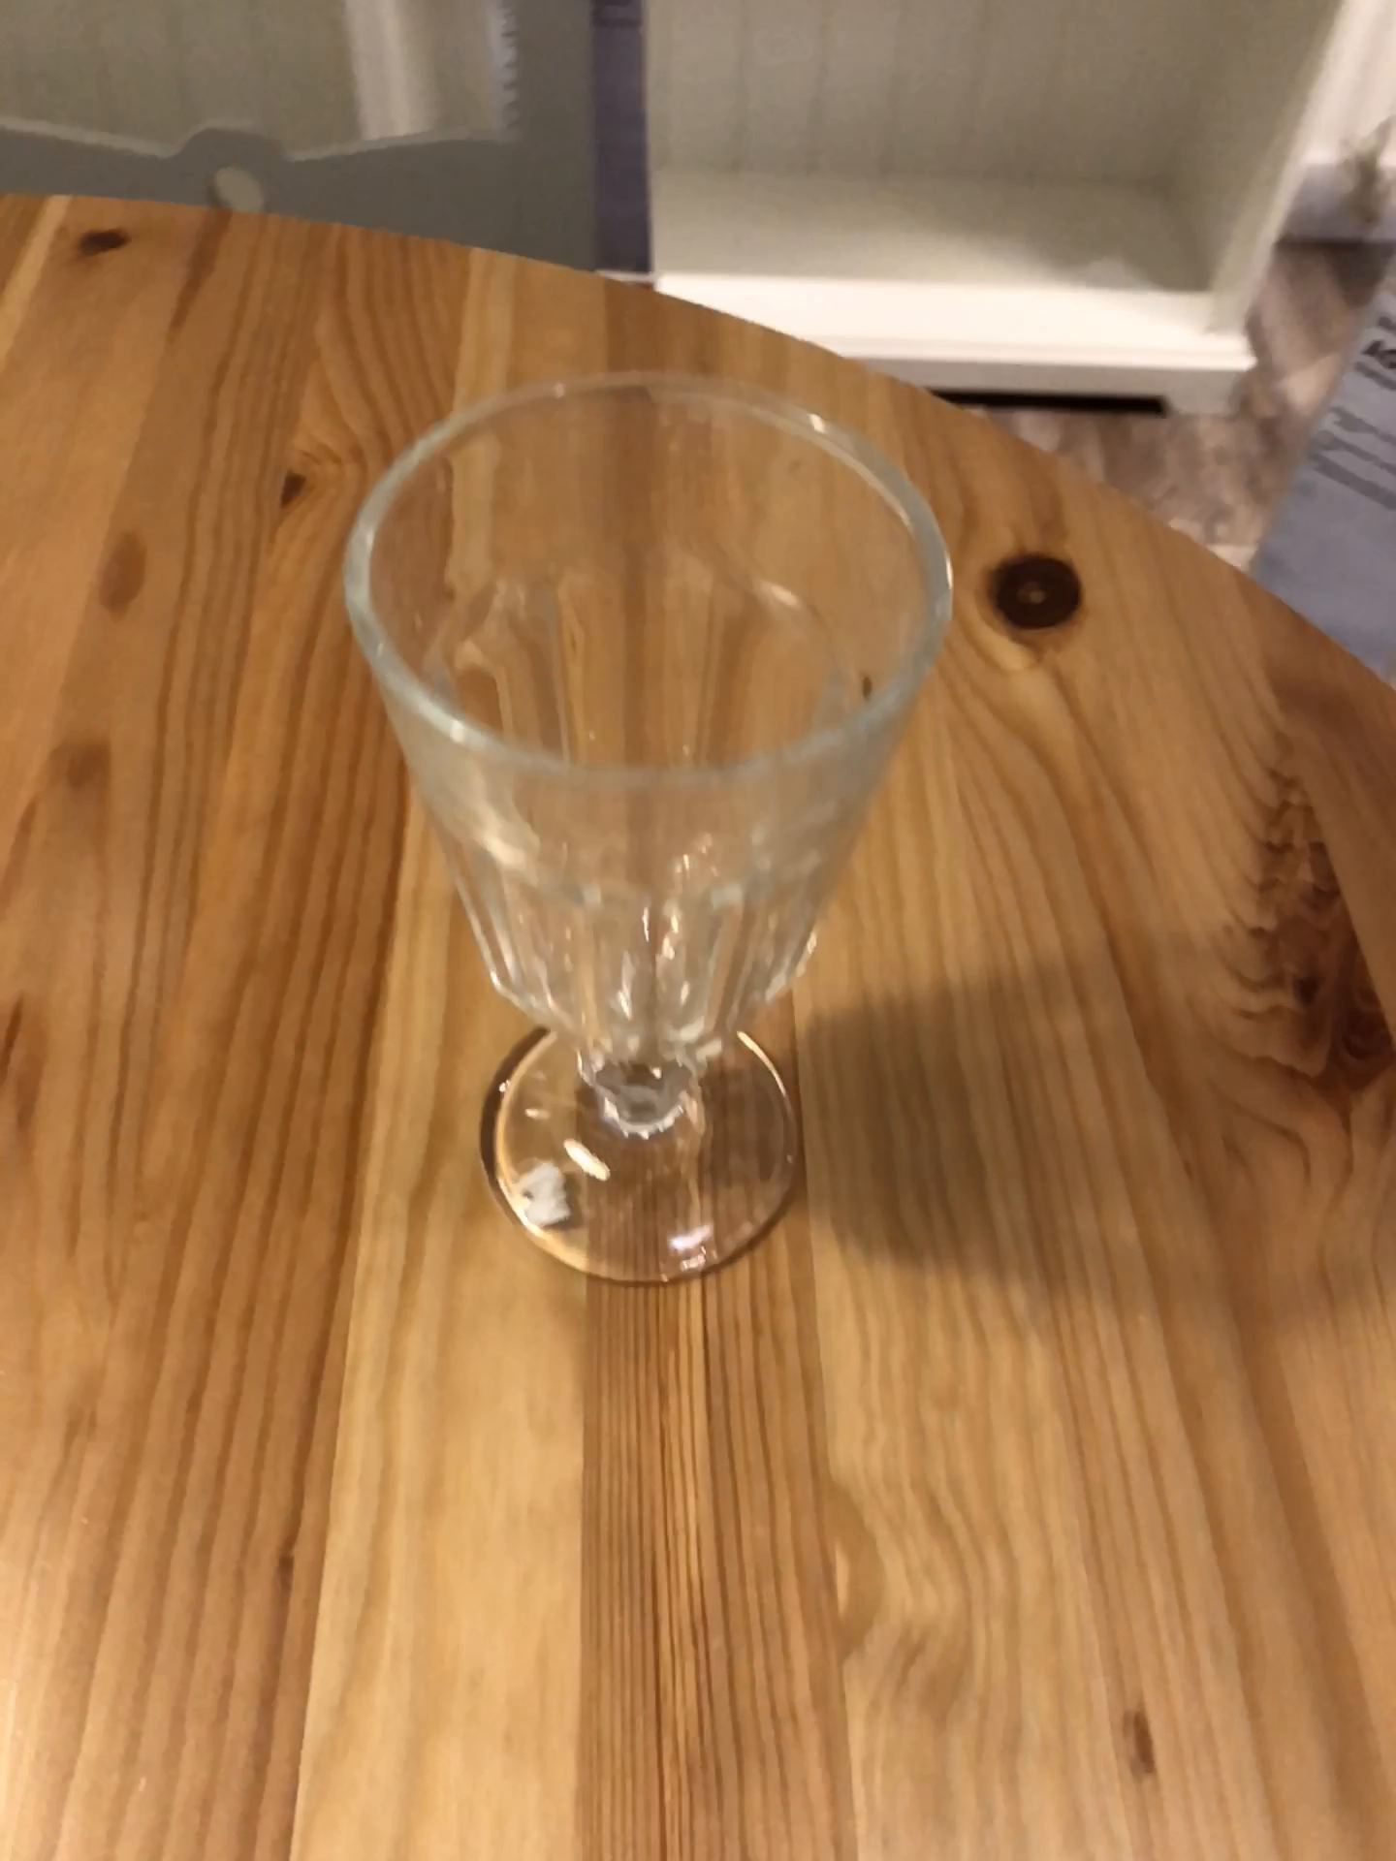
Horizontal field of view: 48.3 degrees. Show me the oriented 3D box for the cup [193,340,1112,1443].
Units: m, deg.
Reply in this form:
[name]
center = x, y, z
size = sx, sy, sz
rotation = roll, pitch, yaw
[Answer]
[cup]
center = -0.007, 0.002, 0.247
size = 0.080, 0.140, 0.080
rotation = 2, 53, -2
